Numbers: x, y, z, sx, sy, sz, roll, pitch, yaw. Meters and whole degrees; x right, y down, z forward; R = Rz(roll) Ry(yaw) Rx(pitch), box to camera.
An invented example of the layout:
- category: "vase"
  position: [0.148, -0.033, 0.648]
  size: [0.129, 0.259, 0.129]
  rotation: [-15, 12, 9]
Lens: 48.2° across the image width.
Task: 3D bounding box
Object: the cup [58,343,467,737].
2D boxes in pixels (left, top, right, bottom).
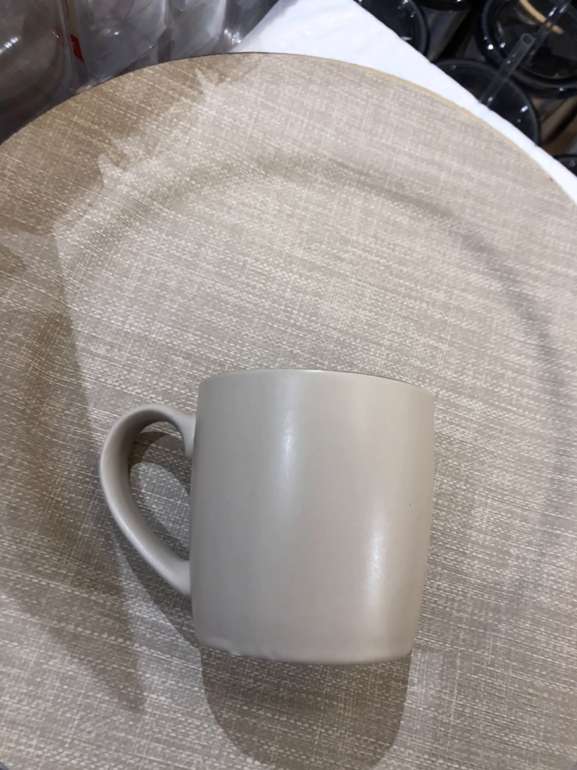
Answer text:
- category: "cup"
  position: [-0.002, 0.045, 0.208]
  size: [0.100, 0.080, 0.090]
  rotation: [-4, 76, 24]
